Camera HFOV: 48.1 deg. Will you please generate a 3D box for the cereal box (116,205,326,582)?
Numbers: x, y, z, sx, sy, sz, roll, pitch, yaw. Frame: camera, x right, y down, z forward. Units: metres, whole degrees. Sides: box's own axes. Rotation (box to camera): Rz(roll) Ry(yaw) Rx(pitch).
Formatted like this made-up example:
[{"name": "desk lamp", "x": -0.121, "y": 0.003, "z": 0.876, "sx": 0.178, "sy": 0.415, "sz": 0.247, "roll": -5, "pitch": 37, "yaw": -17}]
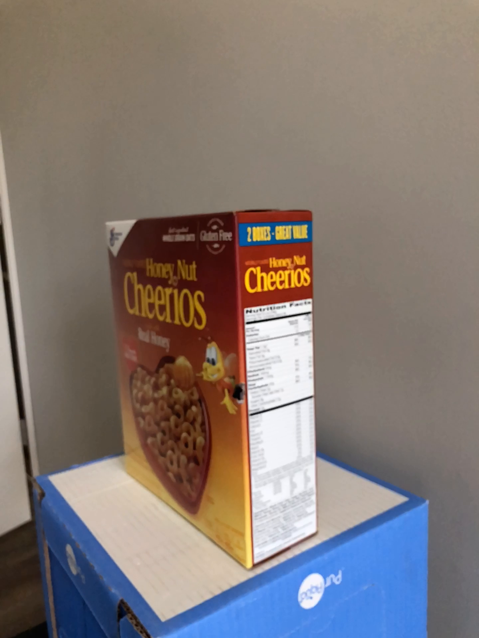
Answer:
[{"name": "cereal box", "x": -0.029, "y": 0.050, "z": 0.547, "sx": 0.080, "sy": 0.309, "sz": 0.240, "roll": -9, "pitch": 11, "yaw": -34}]
